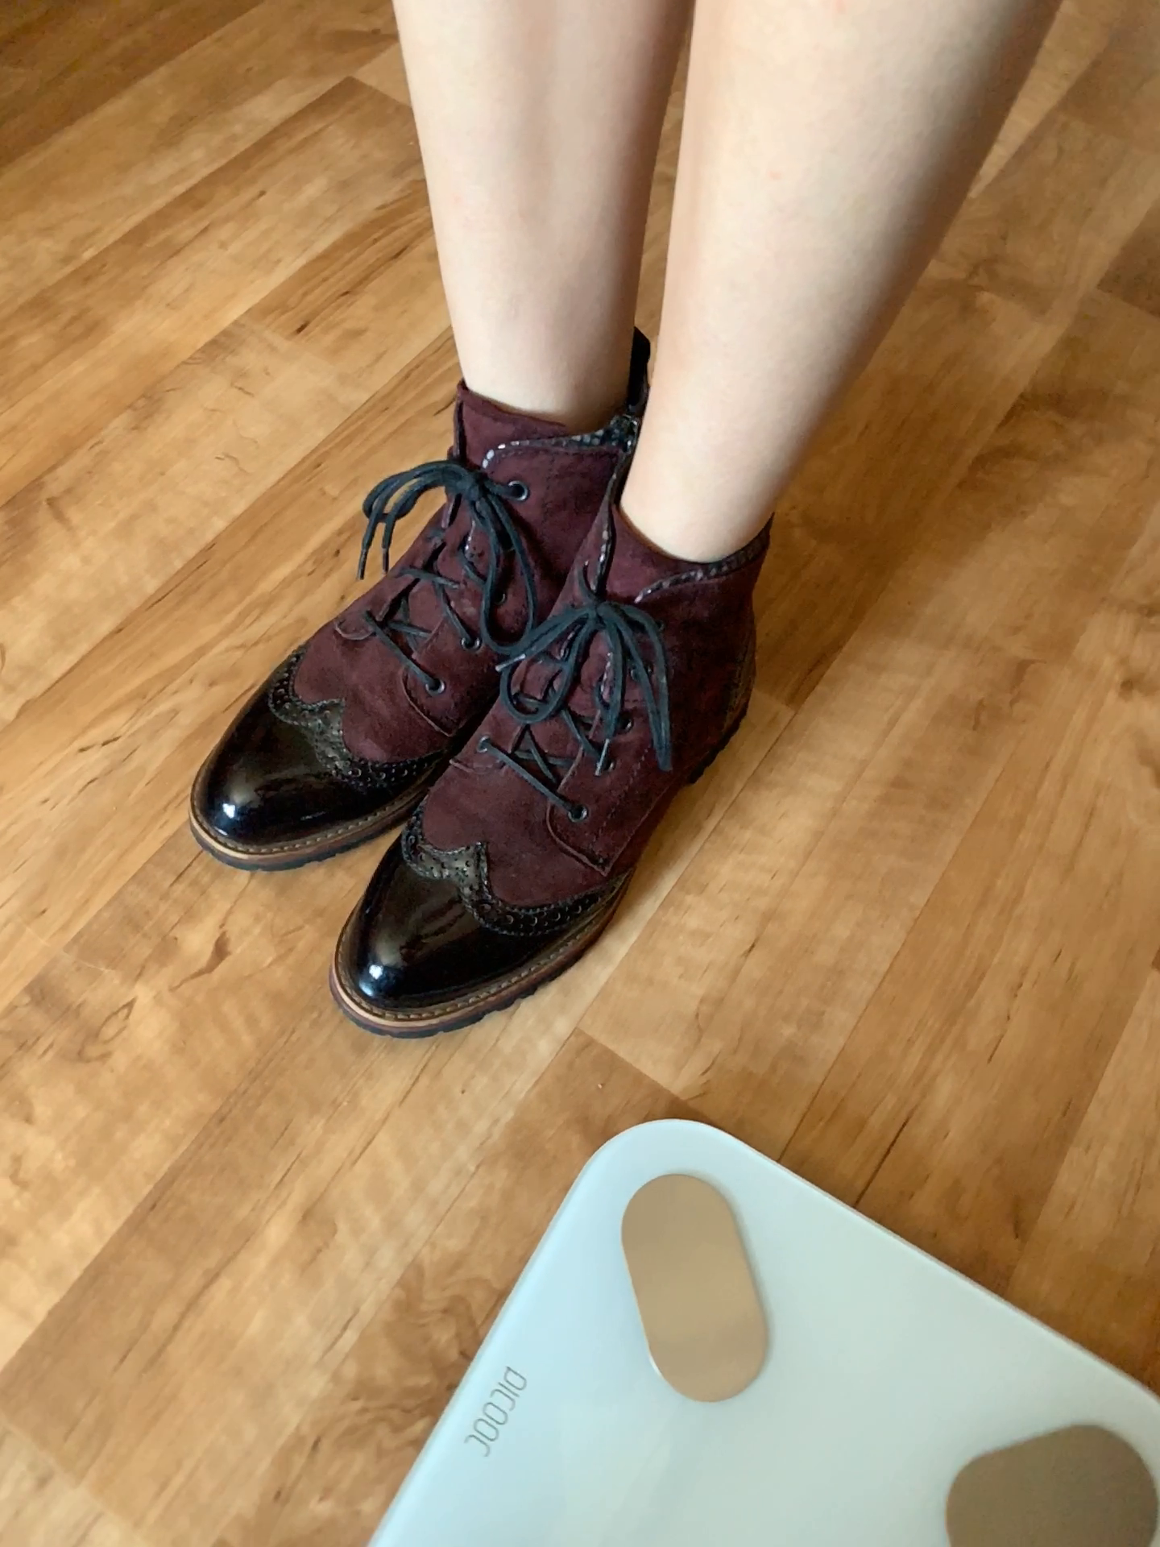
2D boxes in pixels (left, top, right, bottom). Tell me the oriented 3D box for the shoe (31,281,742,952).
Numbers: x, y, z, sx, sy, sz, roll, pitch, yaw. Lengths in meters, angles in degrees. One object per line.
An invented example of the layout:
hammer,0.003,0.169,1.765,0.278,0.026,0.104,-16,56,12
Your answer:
shoe,-0.067,-0.068,0.503,0.100,0.140,0.260,43,66,16

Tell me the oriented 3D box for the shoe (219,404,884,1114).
shoe,-0.005,-0.008,0.494,0.100,0.140,0.260,37,65,14
